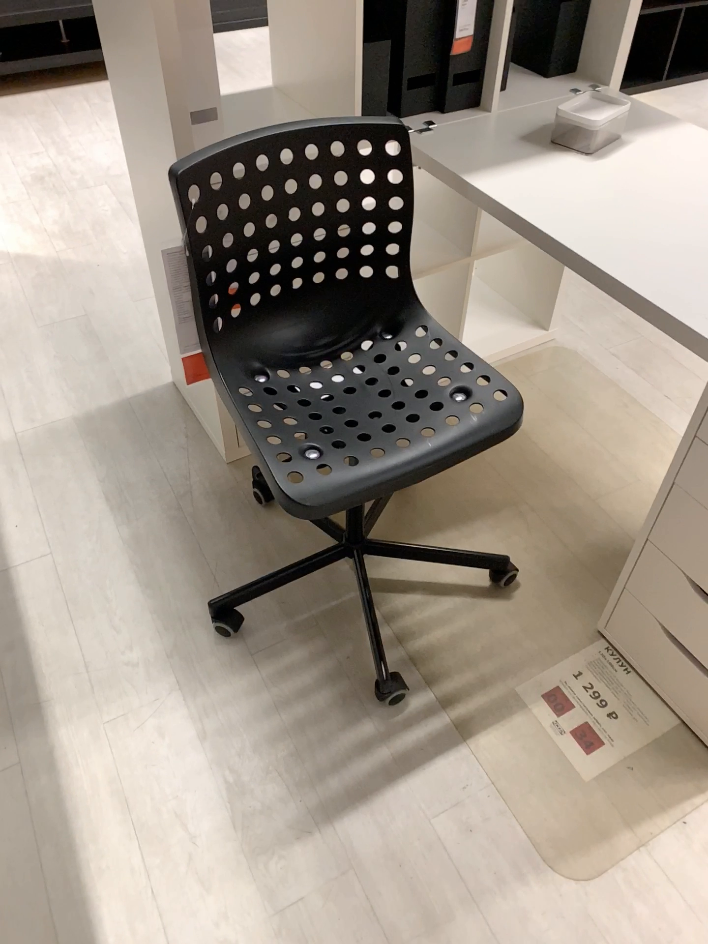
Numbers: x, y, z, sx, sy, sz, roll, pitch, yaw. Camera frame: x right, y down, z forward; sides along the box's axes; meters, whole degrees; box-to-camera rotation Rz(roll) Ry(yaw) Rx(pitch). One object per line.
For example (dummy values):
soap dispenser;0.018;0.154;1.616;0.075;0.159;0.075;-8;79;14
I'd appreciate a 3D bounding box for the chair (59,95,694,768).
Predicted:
chair;-0.021;-0.093;1.401;0.681;0.866;0.753;-20;50;-19
